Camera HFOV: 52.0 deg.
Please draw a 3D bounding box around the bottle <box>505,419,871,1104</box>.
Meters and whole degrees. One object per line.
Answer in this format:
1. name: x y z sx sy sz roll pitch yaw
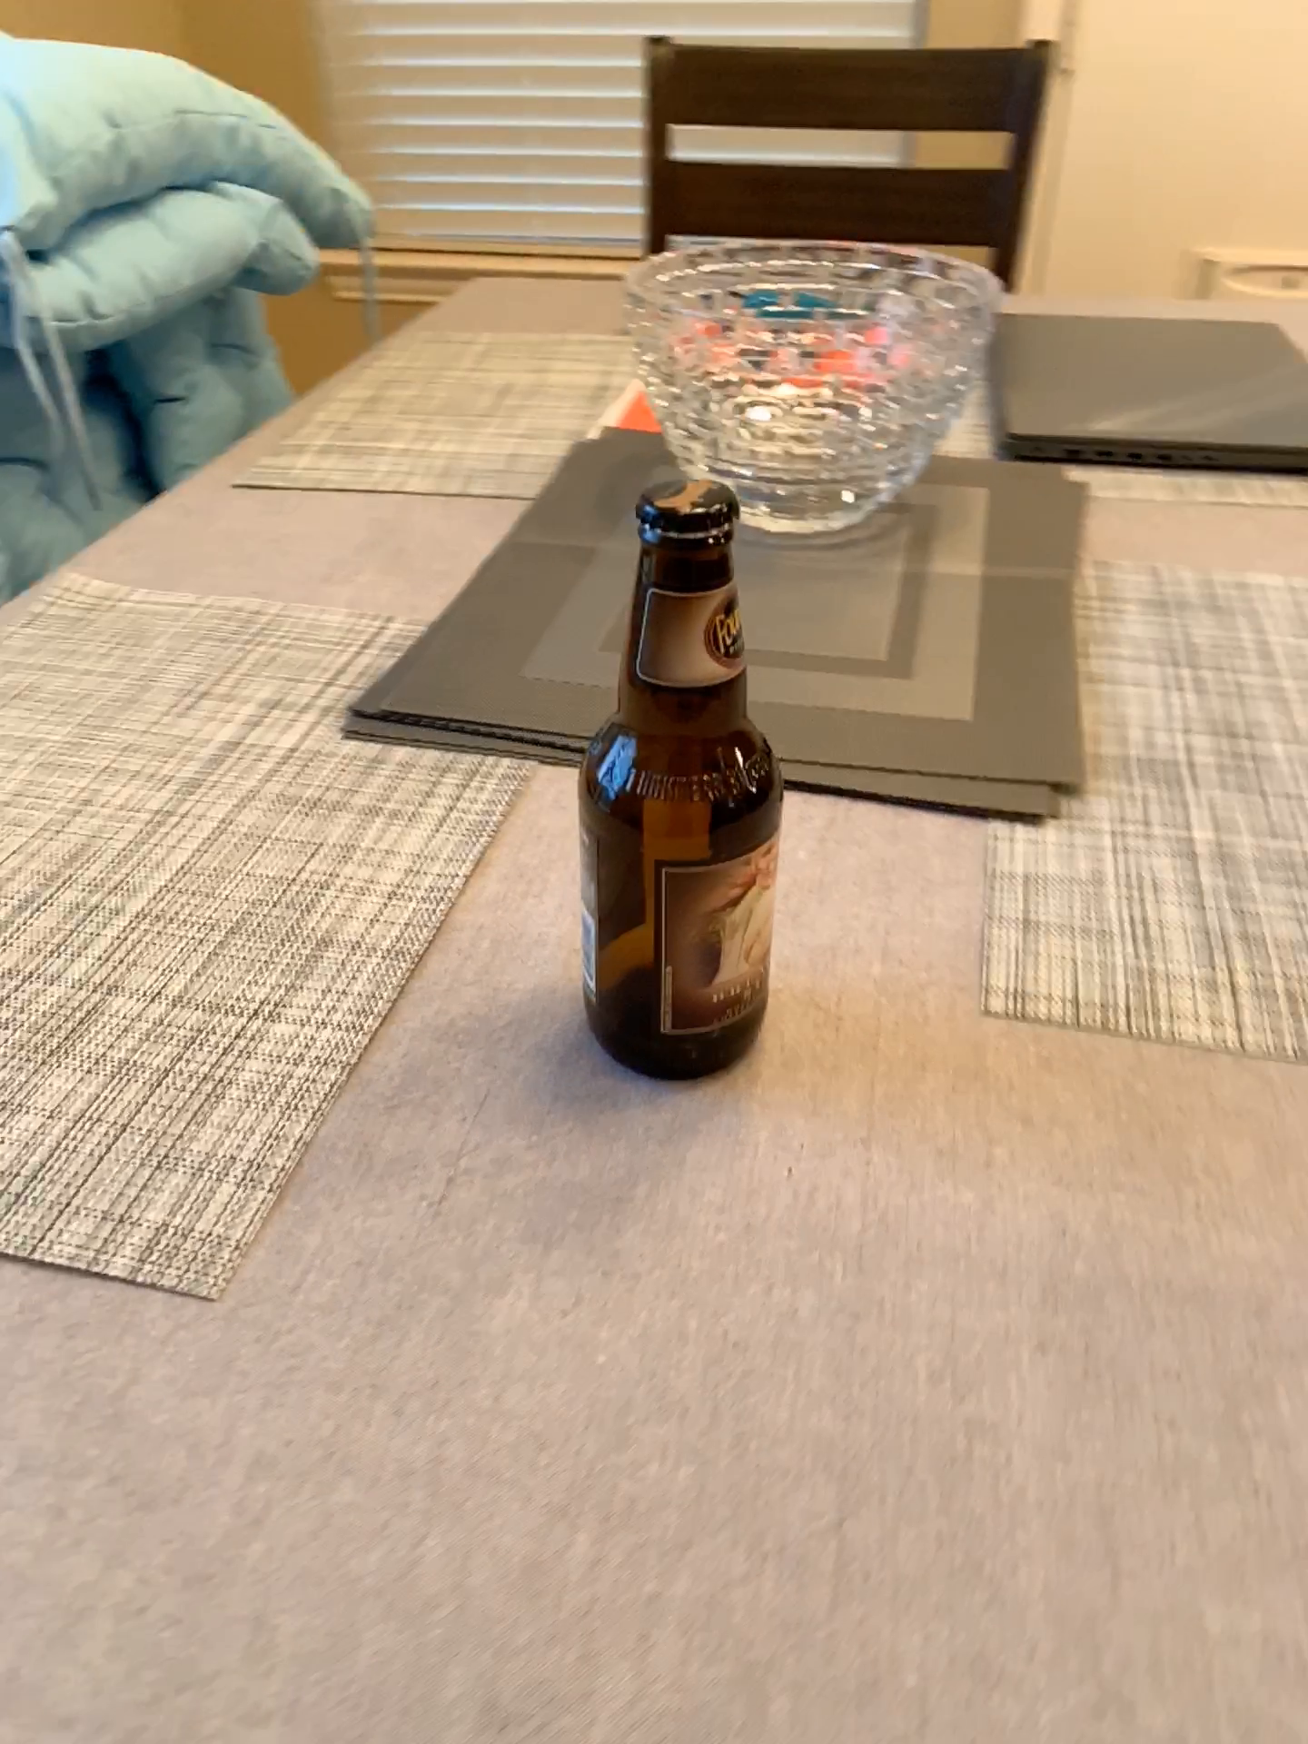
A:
1. bottle: 0.012 -0.032 0.423 0.080 0.189 0.080 0 35 0
